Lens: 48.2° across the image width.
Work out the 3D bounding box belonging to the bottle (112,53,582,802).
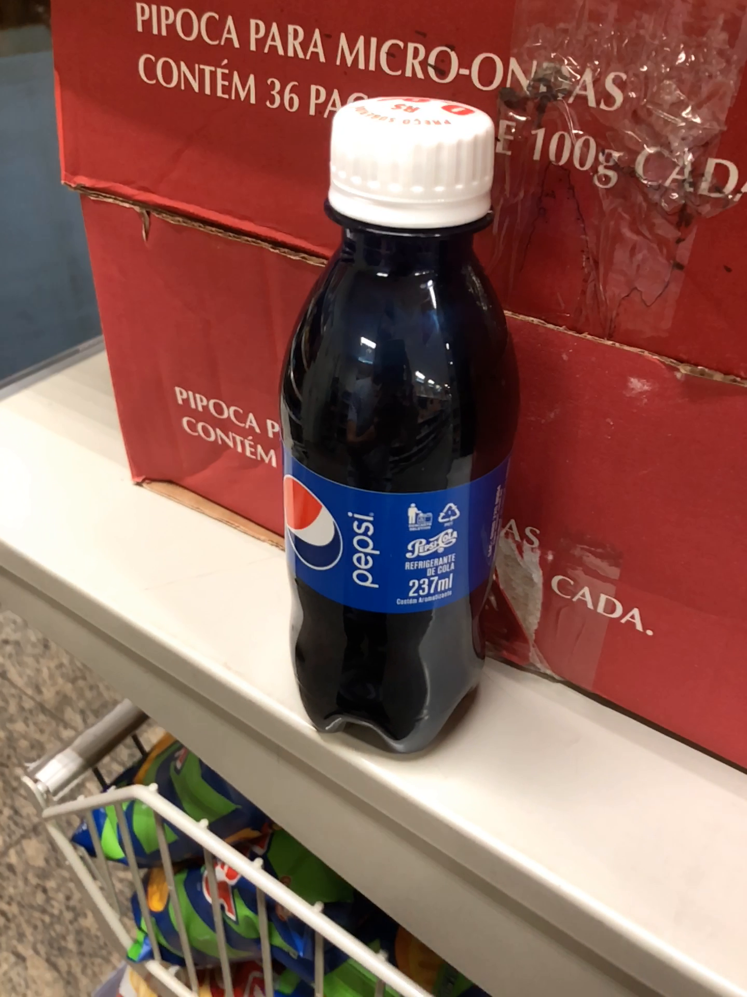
[{"bbox_3d":[-0.001,-0.012,0.191,0.060,0.149,0.060,-1,35,1],"label":"bottle"}]
